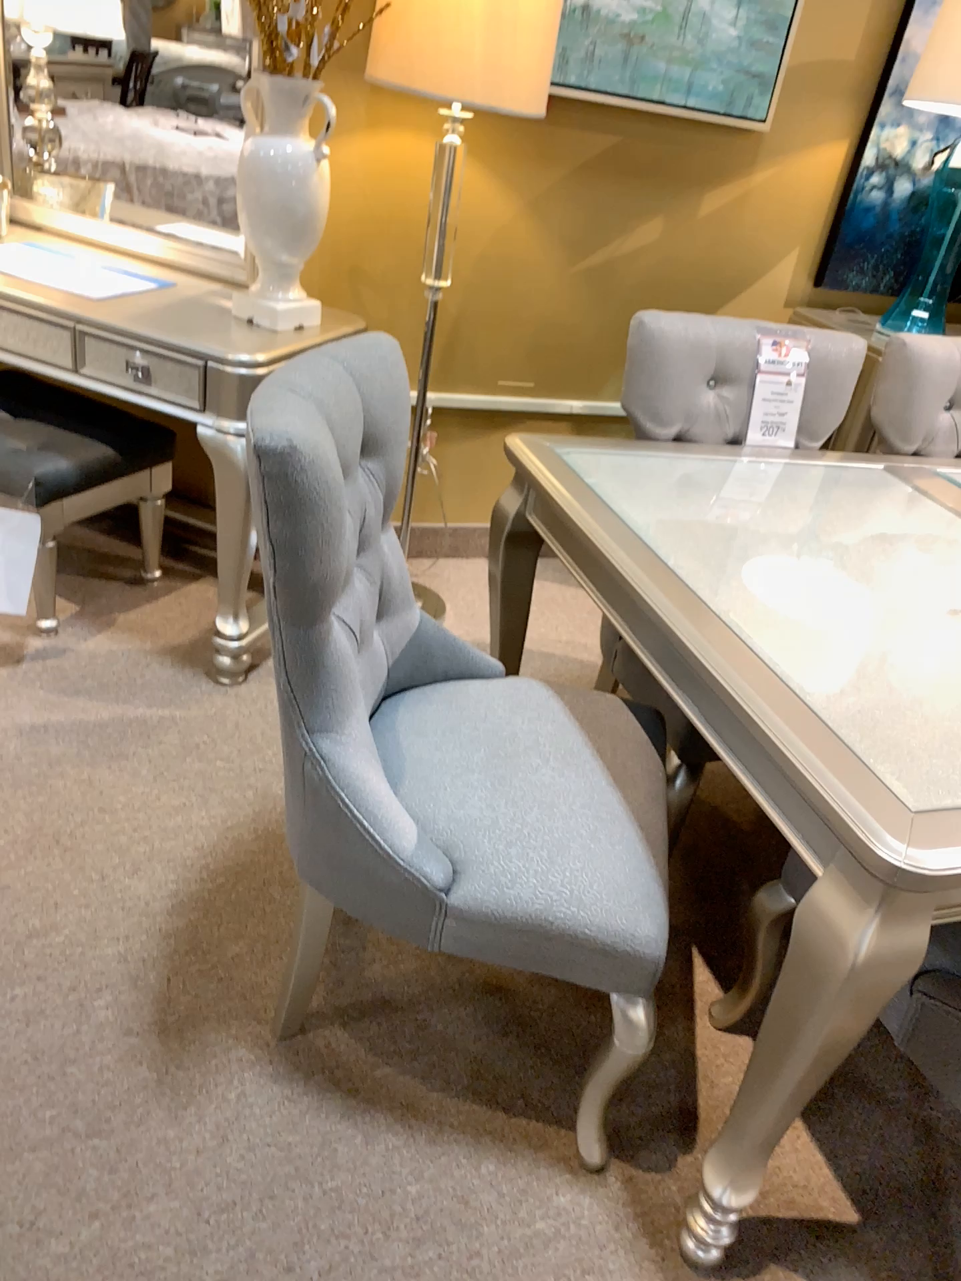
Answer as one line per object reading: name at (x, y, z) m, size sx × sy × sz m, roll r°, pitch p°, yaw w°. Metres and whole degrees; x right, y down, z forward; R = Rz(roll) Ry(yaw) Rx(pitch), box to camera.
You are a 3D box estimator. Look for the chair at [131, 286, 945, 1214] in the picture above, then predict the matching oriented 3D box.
chair at (0.006, 0.127, 1.284) m, size 0.680 × 0.915 × 0.583 m, roll 12°, pitch 30°, yaw 2°
